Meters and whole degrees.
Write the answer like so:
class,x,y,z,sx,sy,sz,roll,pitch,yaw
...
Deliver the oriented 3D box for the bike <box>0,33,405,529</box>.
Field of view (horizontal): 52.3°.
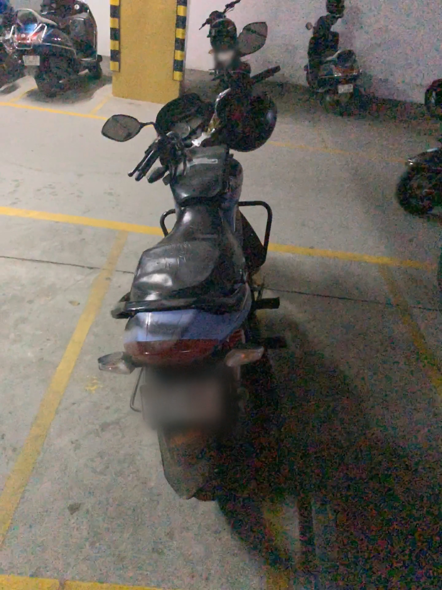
class,x,y,z,sx,sy,sz,roll,pitch,yaw
bike,-0.224,-0.248,1.776,0.780,1.108,1.709,4,35,-8
